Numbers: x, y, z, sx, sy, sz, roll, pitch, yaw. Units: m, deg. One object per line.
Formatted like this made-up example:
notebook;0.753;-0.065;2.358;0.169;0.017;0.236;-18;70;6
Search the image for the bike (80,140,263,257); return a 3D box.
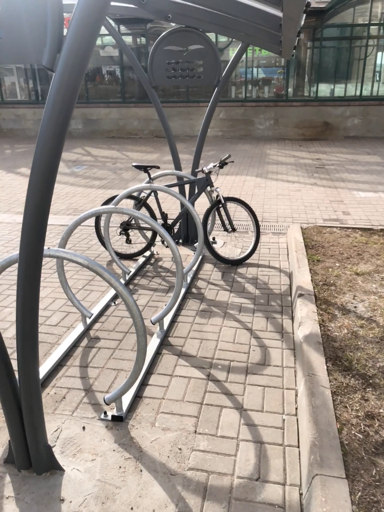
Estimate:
bike;-0.133;-0.595;4.221;1.610;0.980;0.564;-2;20;2
